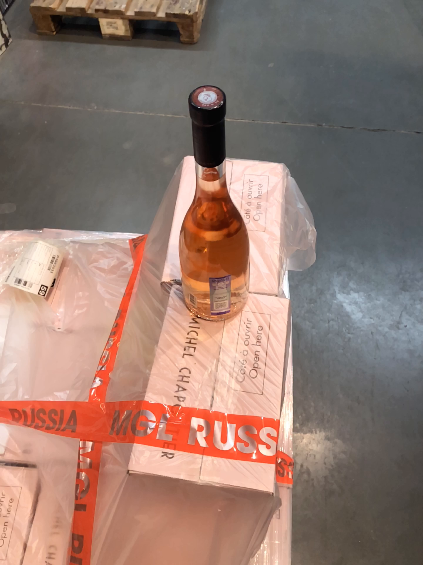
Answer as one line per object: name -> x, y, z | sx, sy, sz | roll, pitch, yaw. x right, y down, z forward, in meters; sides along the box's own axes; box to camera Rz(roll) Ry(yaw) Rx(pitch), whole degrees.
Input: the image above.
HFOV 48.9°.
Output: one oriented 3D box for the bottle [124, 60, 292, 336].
bottle -> -0.002, -0.064, 0.491 | 0.096, 0.279, 0.100 | -1, 59, 1
